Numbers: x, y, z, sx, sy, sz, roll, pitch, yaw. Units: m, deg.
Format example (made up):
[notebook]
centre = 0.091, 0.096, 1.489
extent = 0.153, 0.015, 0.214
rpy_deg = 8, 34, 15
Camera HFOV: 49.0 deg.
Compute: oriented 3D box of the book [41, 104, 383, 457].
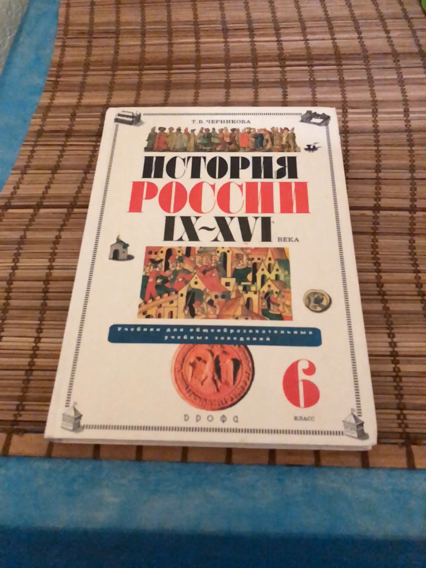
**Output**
[book]
centre = 0.003, -0.020, 0.301
extent = 0.169, 0.029, 0.241
rpy_deg = 1, 61, 3
